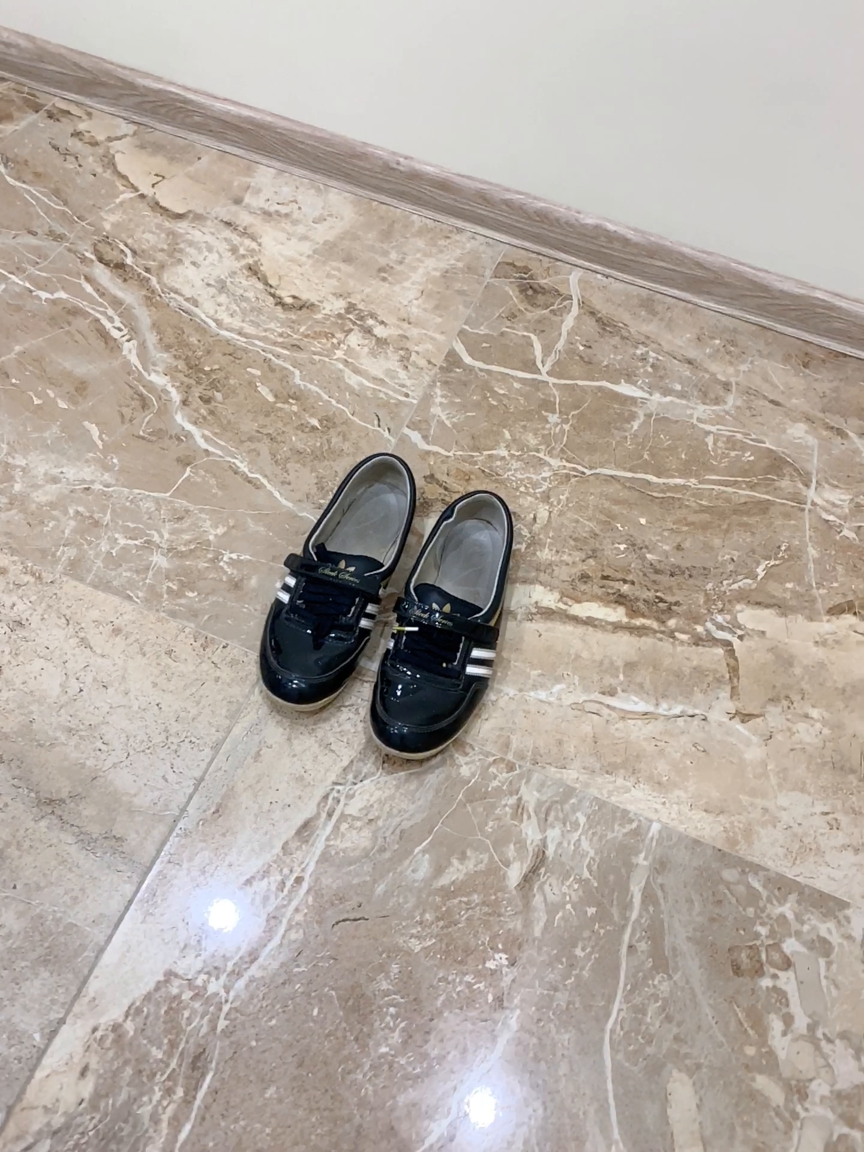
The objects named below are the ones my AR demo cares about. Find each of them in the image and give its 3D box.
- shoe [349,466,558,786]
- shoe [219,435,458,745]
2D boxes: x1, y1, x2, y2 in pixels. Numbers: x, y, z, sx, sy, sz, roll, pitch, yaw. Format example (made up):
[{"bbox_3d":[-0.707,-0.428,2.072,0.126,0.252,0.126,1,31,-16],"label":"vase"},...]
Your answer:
[{"bbox_3d":[0.021,0.032,0.711,0.095,0.060,0.241,18,59,6],"label":"shoe"},{"bbox_3d":[-0.068,0.004,0.723,0.095,0.060,0.241,21,59,8],"label":"shoe"}]
